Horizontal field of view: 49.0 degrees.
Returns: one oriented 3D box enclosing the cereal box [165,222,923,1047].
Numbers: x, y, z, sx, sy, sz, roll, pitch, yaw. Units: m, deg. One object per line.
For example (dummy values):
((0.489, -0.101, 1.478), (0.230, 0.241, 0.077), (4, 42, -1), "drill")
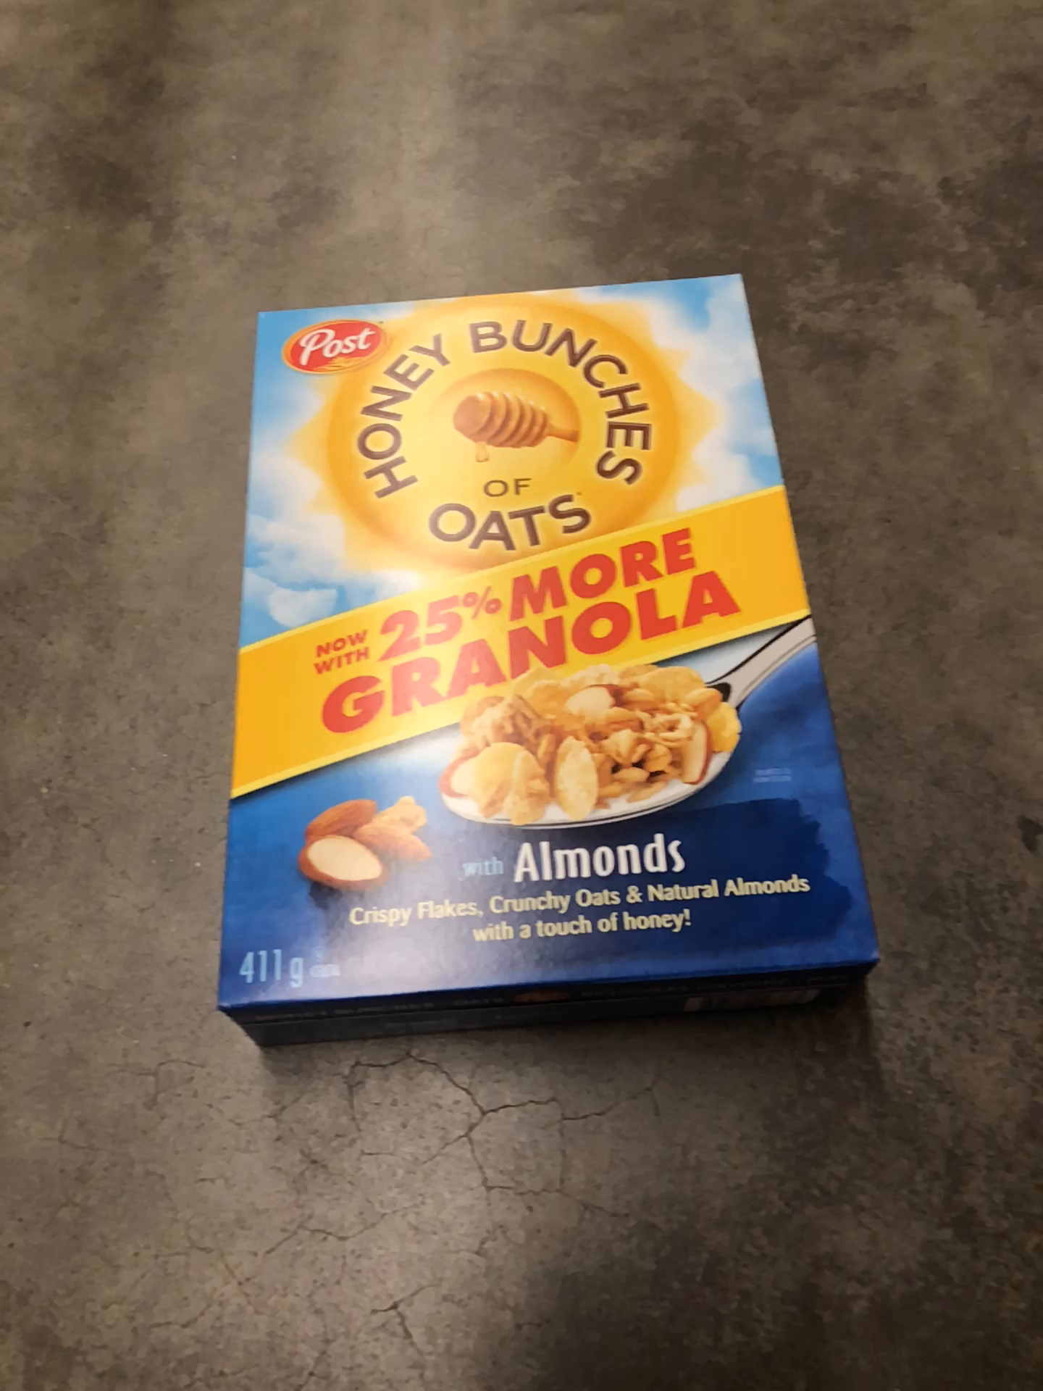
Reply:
((-0.002, -0.032, 0.388), (0.200, 0.060, 0.271), (-4, 64, 1), "cereal box")
